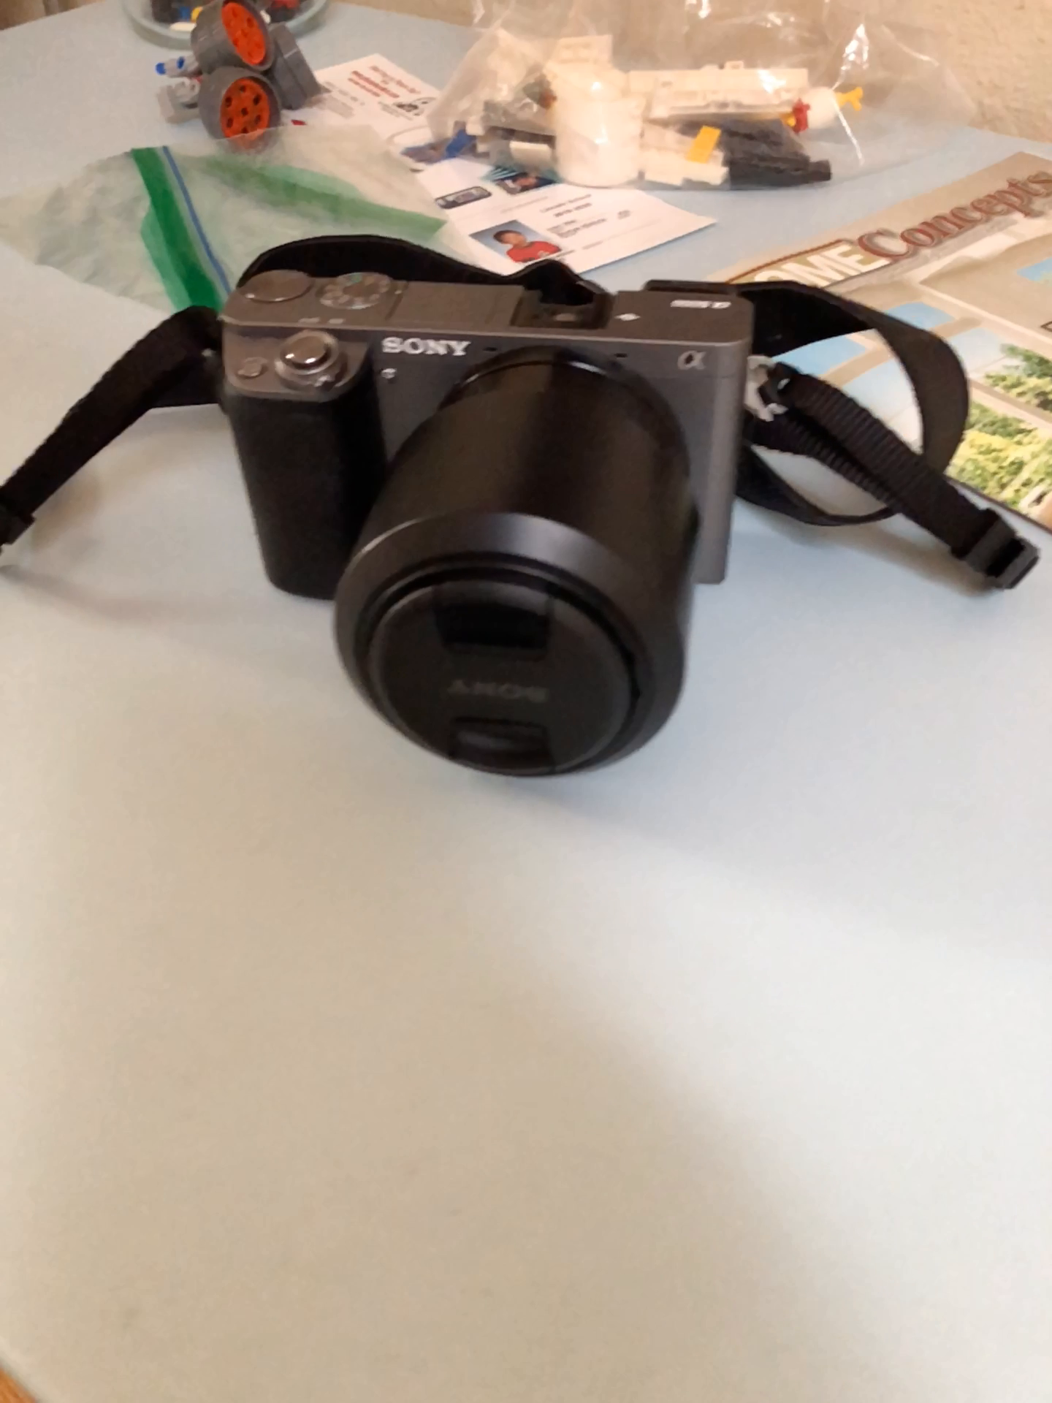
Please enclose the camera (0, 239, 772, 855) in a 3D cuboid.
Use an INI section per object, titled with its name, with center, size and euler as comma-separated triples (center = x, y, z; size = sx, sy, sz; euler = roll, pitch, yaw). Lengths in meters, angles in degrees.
[camera]
center = -0.019, -0.040, 0.252
size = 0.130, 0.070, 0.111
euler = 6, 45, 9
